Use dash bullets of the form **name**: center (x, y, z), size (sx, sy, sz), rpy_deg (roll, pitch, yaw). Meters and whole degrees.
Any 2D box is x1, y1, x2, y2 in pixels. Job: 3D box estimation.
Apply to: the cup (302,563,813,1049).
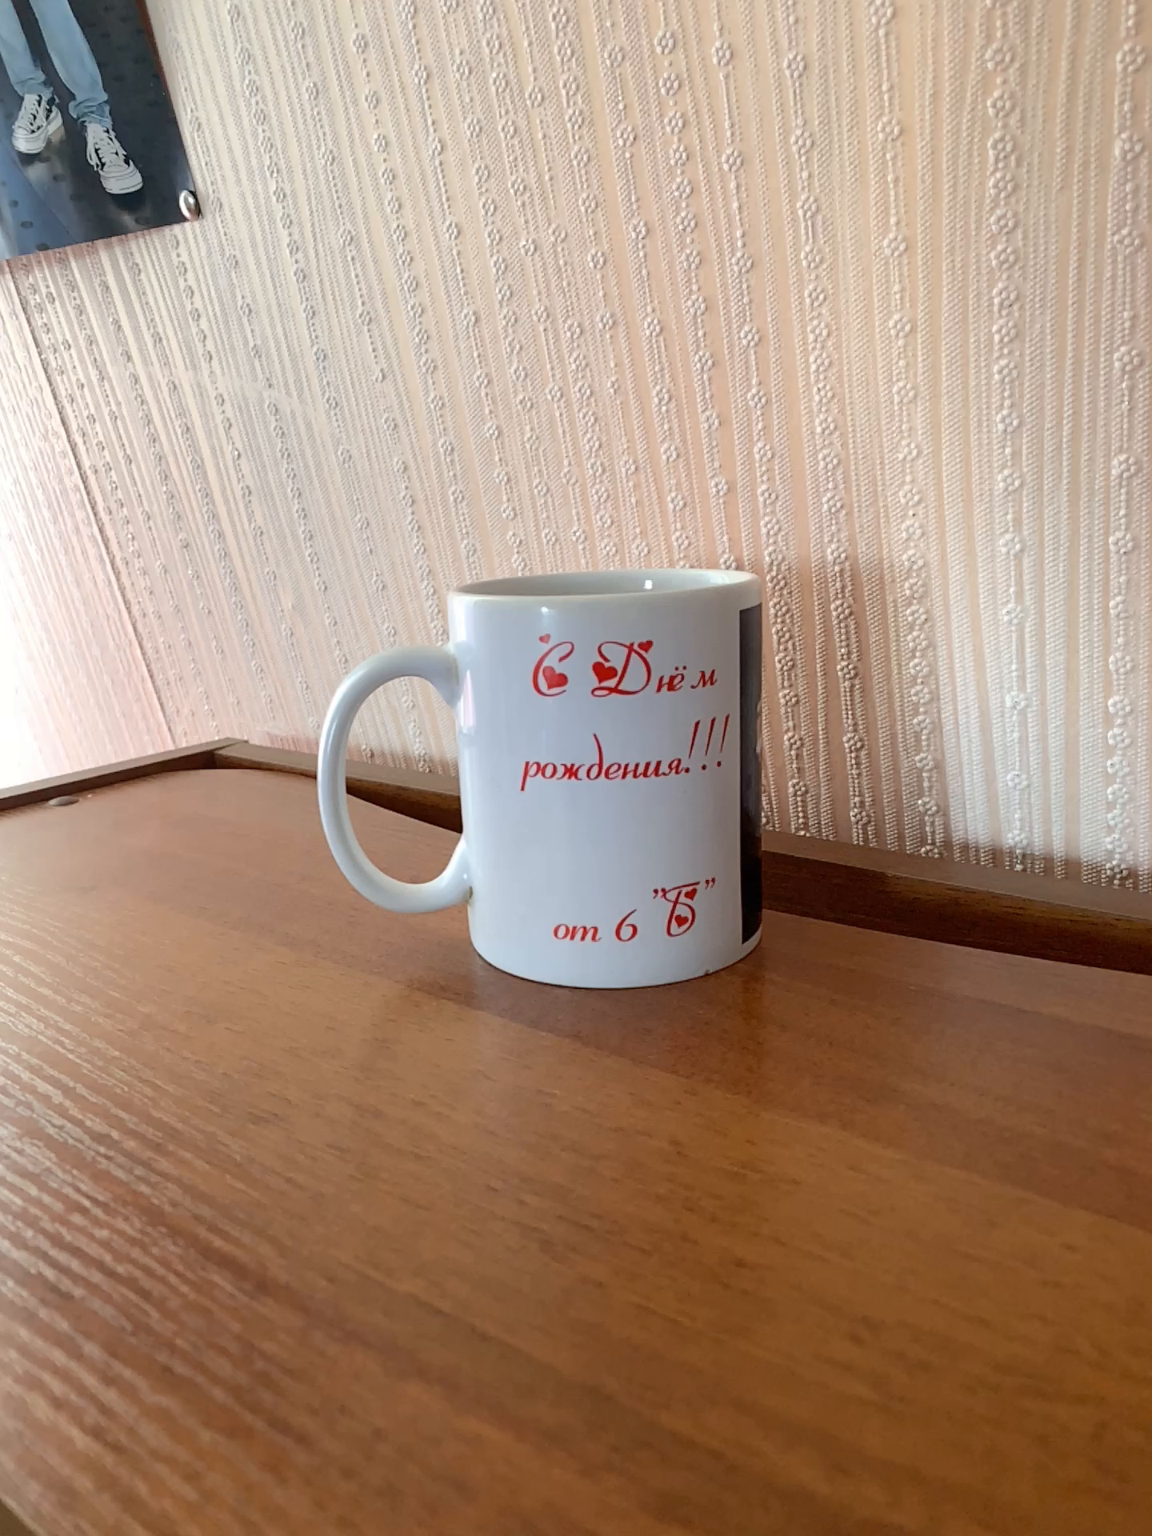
- **cup**: center (-0.007, 0.003, 0.320), size (0.117, 0.106, 0.082), rpy_deg (-4, 12, -8)
